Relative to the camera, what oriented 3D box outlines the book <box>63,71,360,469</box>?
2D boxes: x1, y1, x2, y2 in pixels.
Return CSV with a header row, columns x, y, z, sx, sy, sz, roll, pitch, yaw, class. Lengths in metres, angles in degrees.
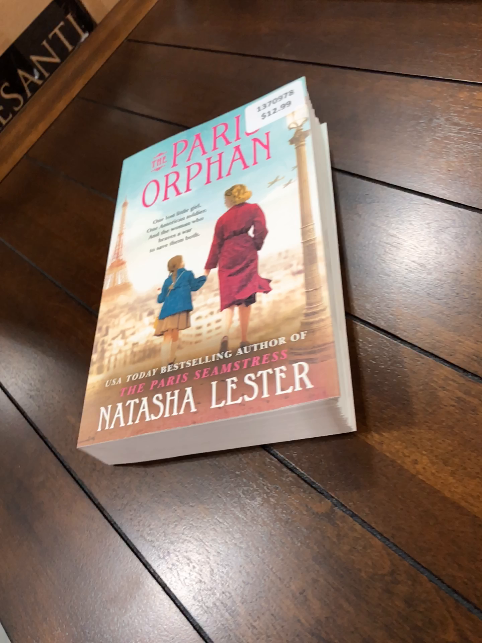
x,y,z,sx,sy,sz,roll,pitch,yaw,class
-0.017,-0.031,0.293,0.135,0.035,0.199,-15,56,24,book
